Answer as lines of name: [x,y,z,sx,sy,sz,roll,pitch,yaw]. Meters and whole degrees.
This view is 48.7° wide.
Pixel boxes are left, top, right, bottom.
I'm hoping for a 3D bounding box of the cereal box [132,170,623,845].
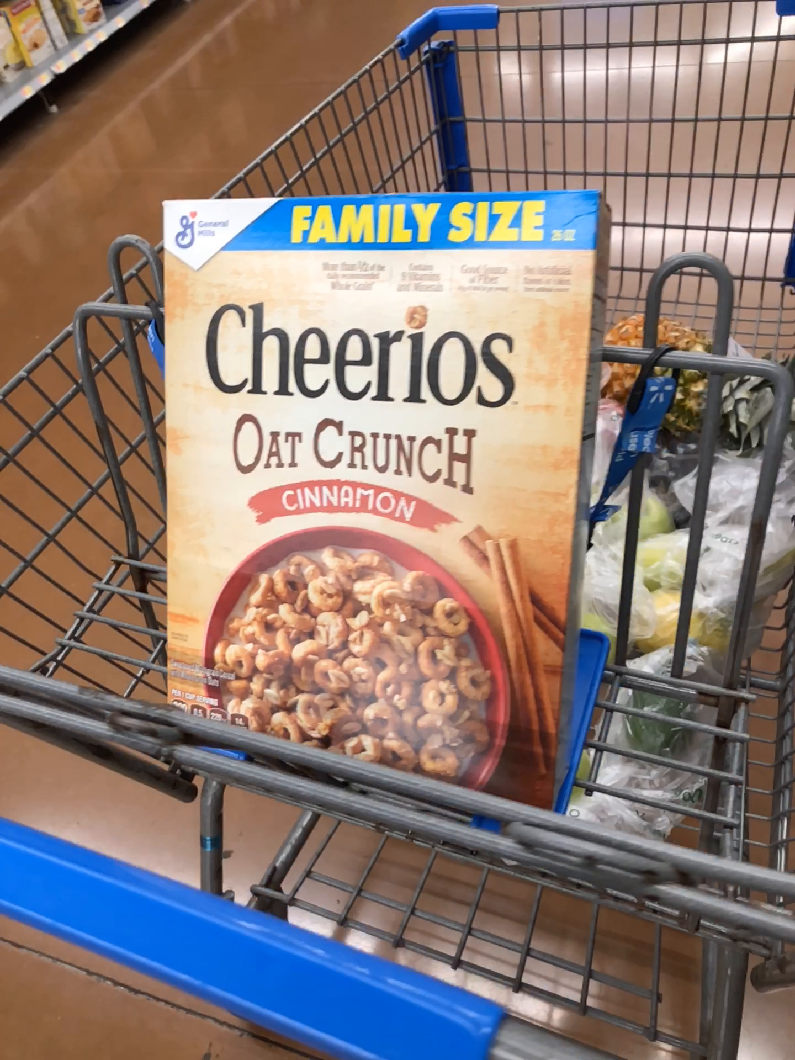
cereal box: [-0.019,-0.019,0.500,0.250,0.330,0.080,6,12,19]
